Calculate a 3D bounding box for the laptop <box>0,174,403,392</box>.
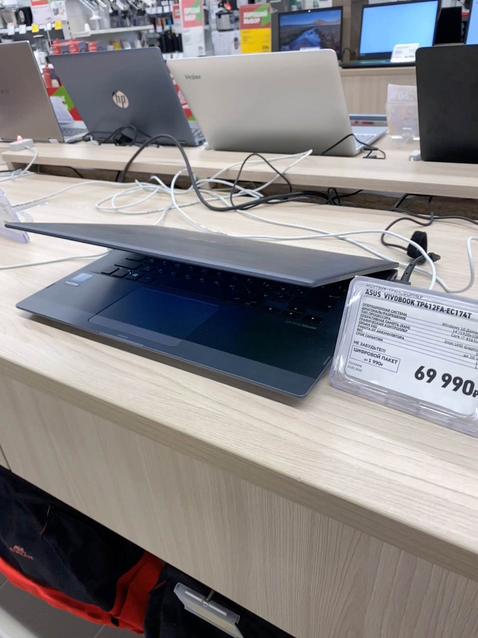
[{"bbox_3d":[-0.038,-0.067,0.490,0.330,0.079,0.226,13,35,29],"label":"laptop"}]
